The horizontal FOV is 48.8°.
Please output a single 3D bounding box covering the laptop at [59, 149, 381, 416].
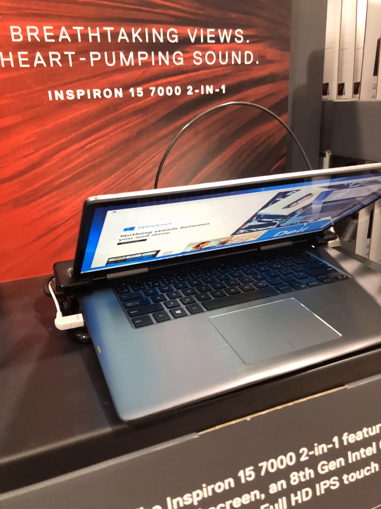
[{"bbox_3d":[0.068,-0.011,0.443,0.355,0.137,0.213,-10,23,-20],"label":"laptop"}]
